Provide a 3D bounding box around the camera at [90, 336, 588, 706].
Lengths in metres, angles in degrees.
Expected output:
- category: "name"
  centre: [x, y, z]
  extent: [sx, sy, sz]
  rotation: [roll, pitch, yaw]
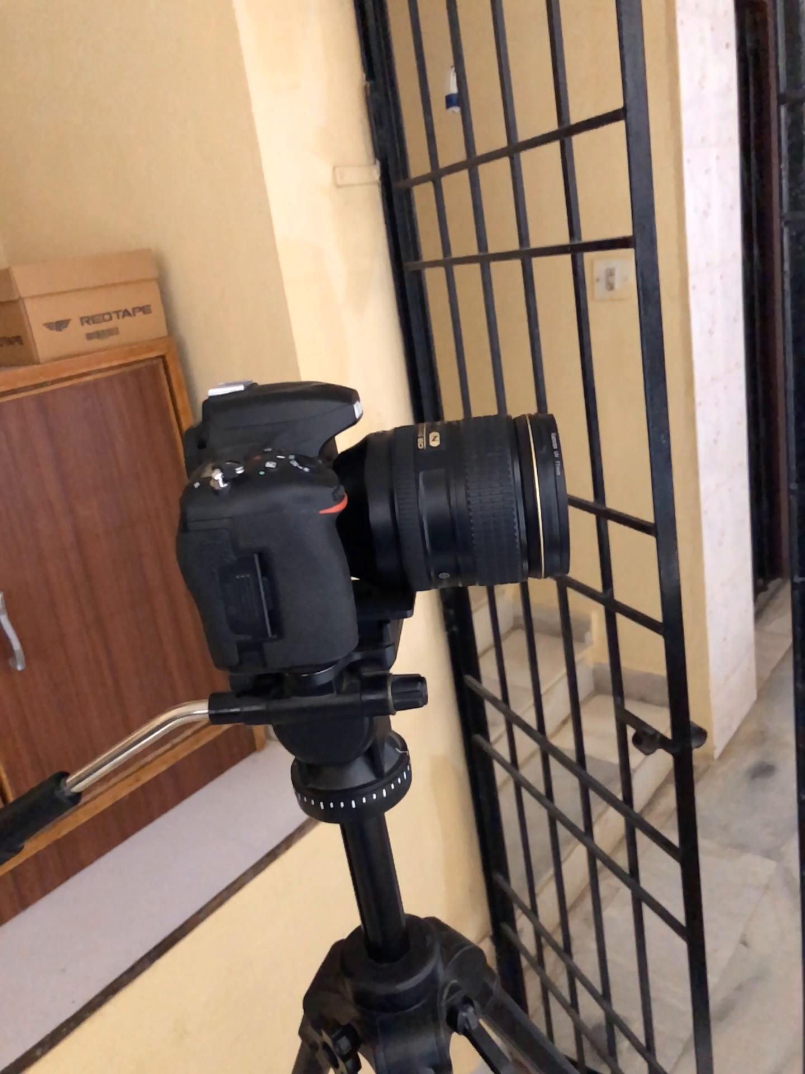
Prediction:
- category: "camera"
  centre: [-0.016, -0.019, 0.412]
  extent: [0.171, 0.105, 0.171]
  rotation: [-7, 17, 7]
